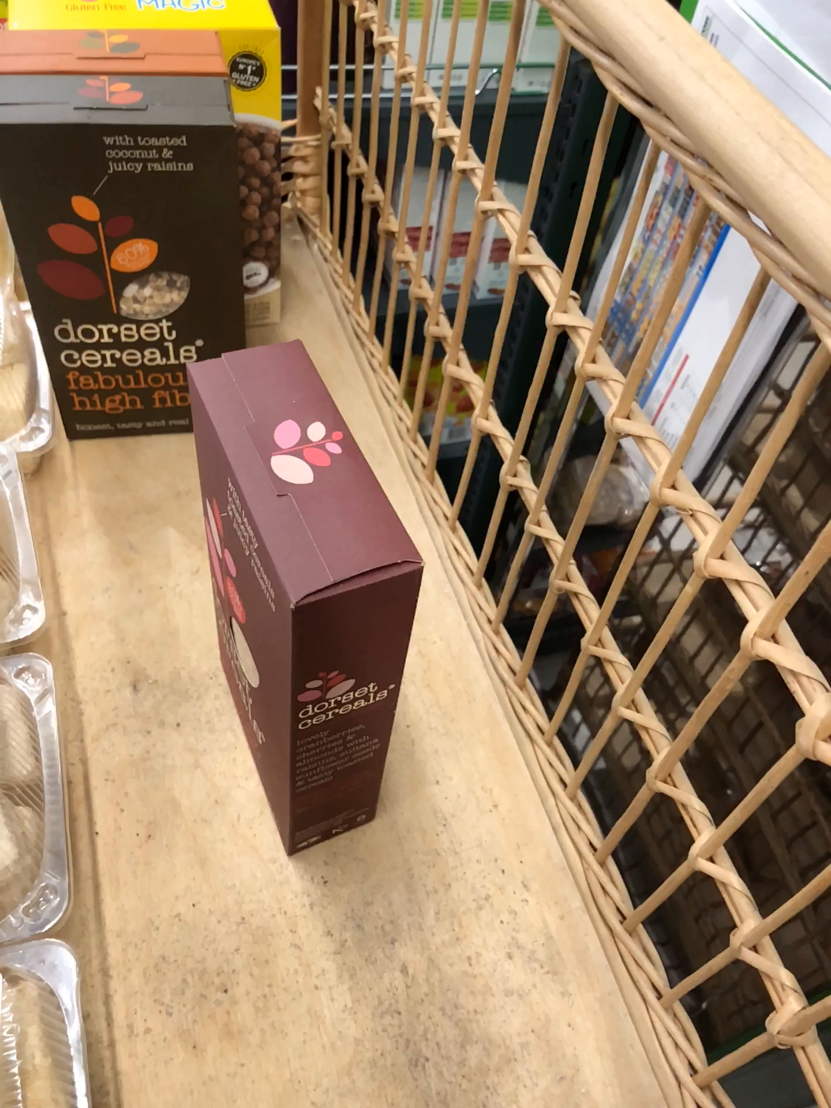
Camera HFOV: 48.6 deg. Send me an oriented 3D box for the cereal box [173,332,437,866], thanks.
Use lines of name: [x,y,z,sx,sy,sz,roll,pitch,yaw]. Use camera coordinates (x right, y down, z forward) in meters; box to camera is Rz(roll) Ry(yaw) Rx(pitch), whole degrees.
cereal box: [-0.054,0.031,0.390,0.050,0.209,0.120,-15,56,-20]
